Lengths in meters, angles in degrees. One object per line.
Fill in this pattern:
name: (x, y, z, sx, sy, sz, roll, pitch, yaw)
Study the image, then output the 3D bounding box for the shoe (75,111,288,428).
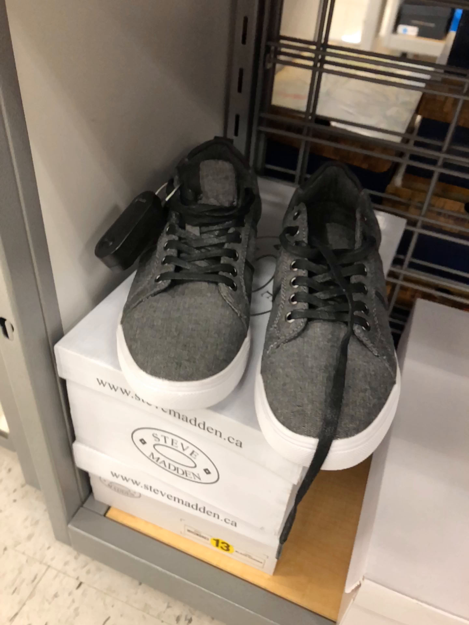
shoe: (-0.022, -0.053, 0.406, 0.110, 0.106, 0.255, 7, 40, 1)

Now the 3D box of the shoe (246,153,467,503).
shoe: (0.080, -0.011, 0.390, 0.100, 0.106, 0.255, 9, 40, 4)
